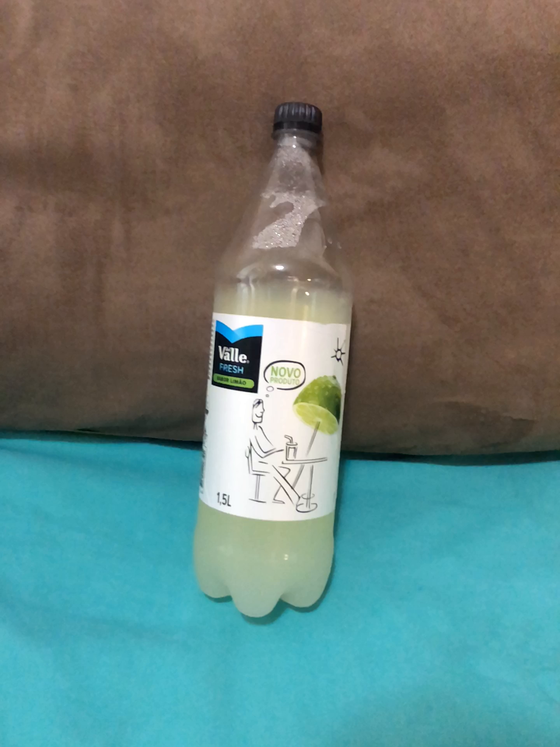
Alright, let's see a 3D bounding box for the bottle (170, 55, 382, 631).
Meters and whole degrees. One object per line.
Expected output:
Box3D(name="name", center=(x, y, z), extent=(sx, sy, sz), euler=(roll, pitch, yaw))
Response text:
Box3D(name="bottle", center=(0.002, -0.022, 0.408), extent=(0.100, 0.330, 0.100), euler=(4, -5, 0))
